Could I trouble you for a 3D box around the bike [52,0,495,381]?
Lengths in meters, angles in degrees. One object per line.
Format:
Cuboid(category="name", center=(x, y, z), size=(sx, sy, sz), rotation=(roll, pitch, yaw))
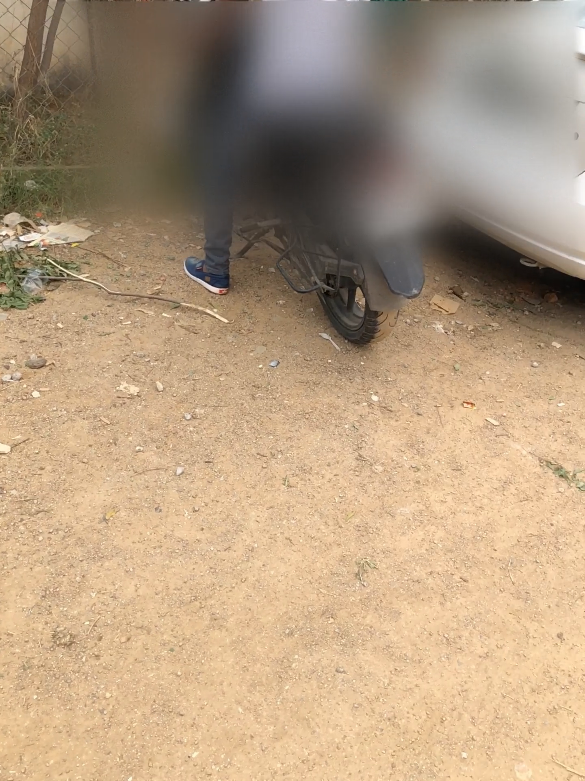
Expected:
Cuboid(category="bike", center=(-0.230, -1.045, 2.200), size=(0.529, 1.094, 1.623), rotation=(-16, 46, -30))
